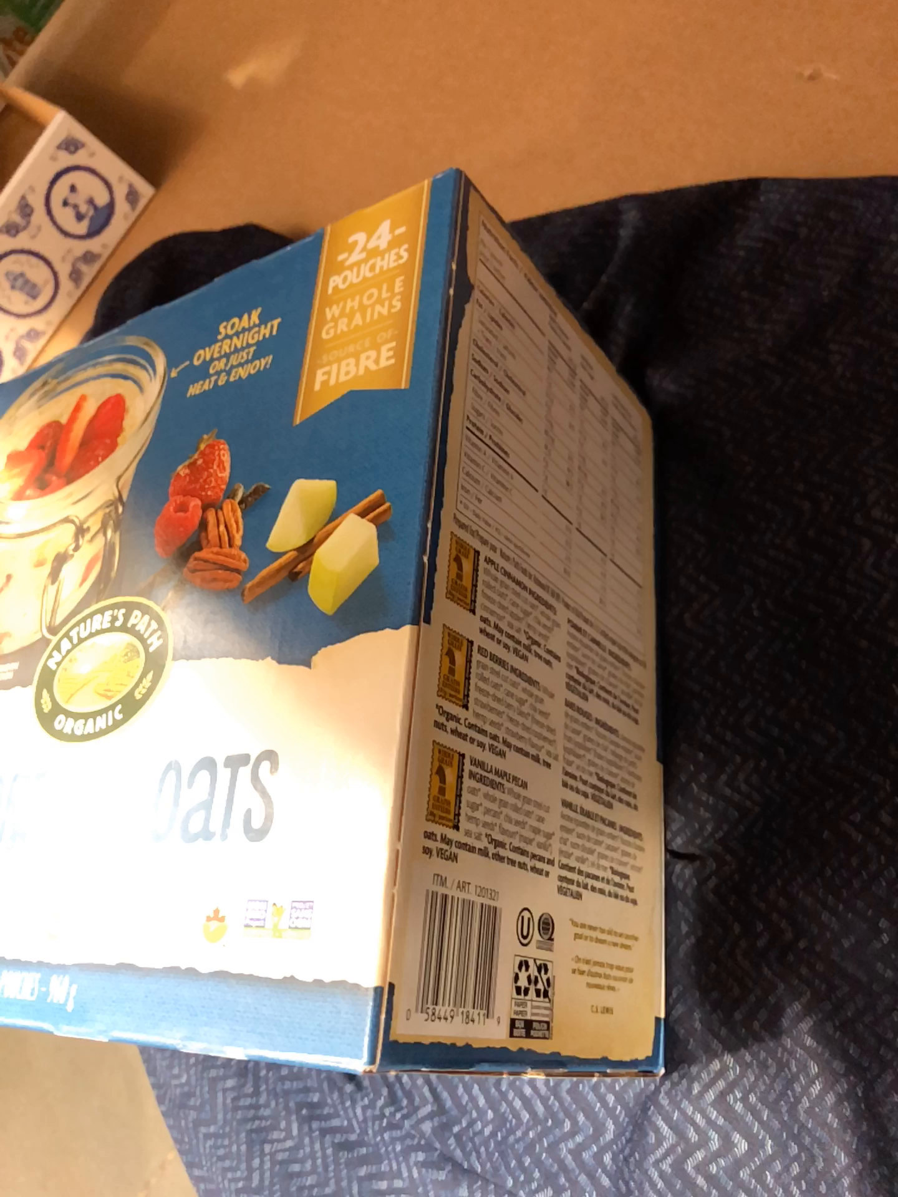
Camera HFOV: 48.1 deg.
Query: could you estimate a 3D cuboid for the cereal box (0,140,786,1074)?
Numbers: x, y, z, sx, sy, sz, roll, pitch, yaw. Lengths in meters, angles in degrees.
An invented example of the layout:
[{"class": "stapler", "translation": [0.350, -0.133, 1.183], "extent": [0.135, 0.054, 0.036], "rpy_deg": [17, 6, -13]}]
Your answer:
[{"class": "cereal box", "translation": [-0.033, 0.026, 0.363], "extent": [0.251, 0.149, 0.240], "rpy_deg": [-11, 62, 32]}]
